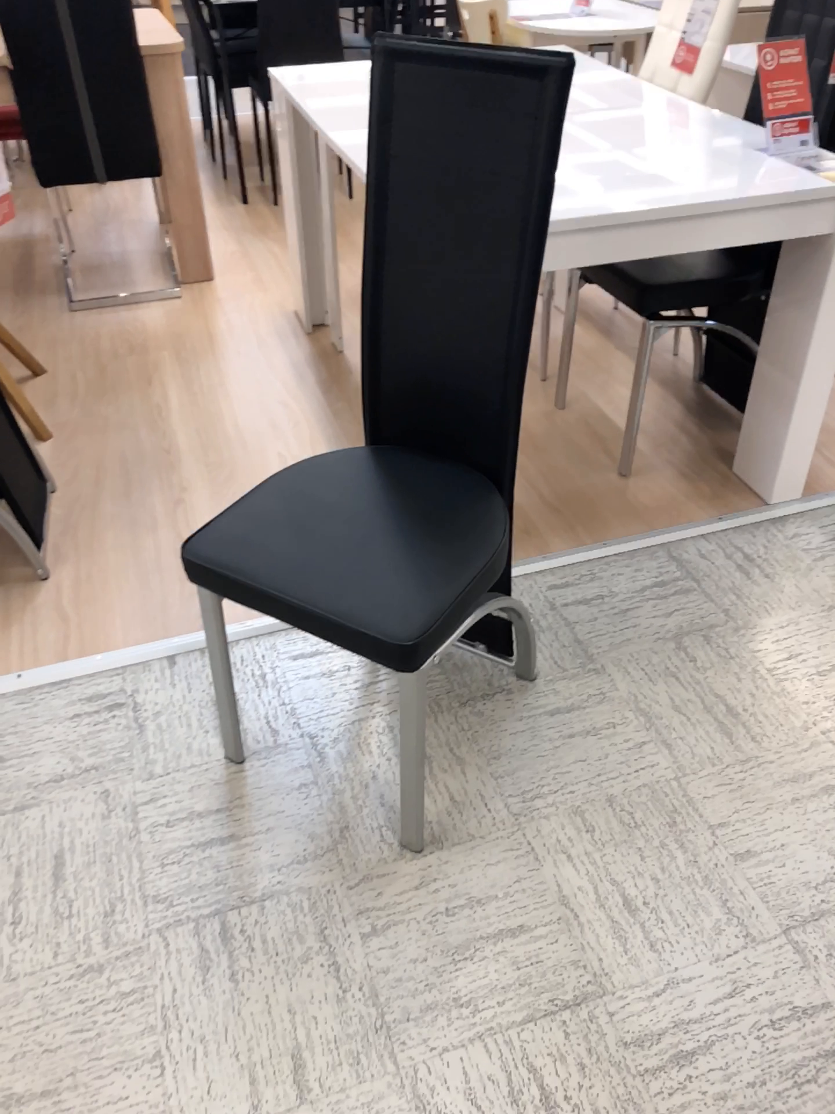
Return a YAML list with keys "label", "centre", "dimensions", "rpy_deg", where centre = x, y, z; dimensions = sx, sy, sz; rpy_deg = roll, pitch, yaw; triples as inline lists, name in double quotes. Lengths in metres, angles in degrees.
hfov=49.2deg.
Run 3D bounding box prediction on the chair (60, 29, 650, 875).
- label: "chair"
  centre: [-0.037, -0.129, 1.312]
  dimensions: [0.450, 1.014, 0.493]
  rpy_deg: [19, 42, 25]
